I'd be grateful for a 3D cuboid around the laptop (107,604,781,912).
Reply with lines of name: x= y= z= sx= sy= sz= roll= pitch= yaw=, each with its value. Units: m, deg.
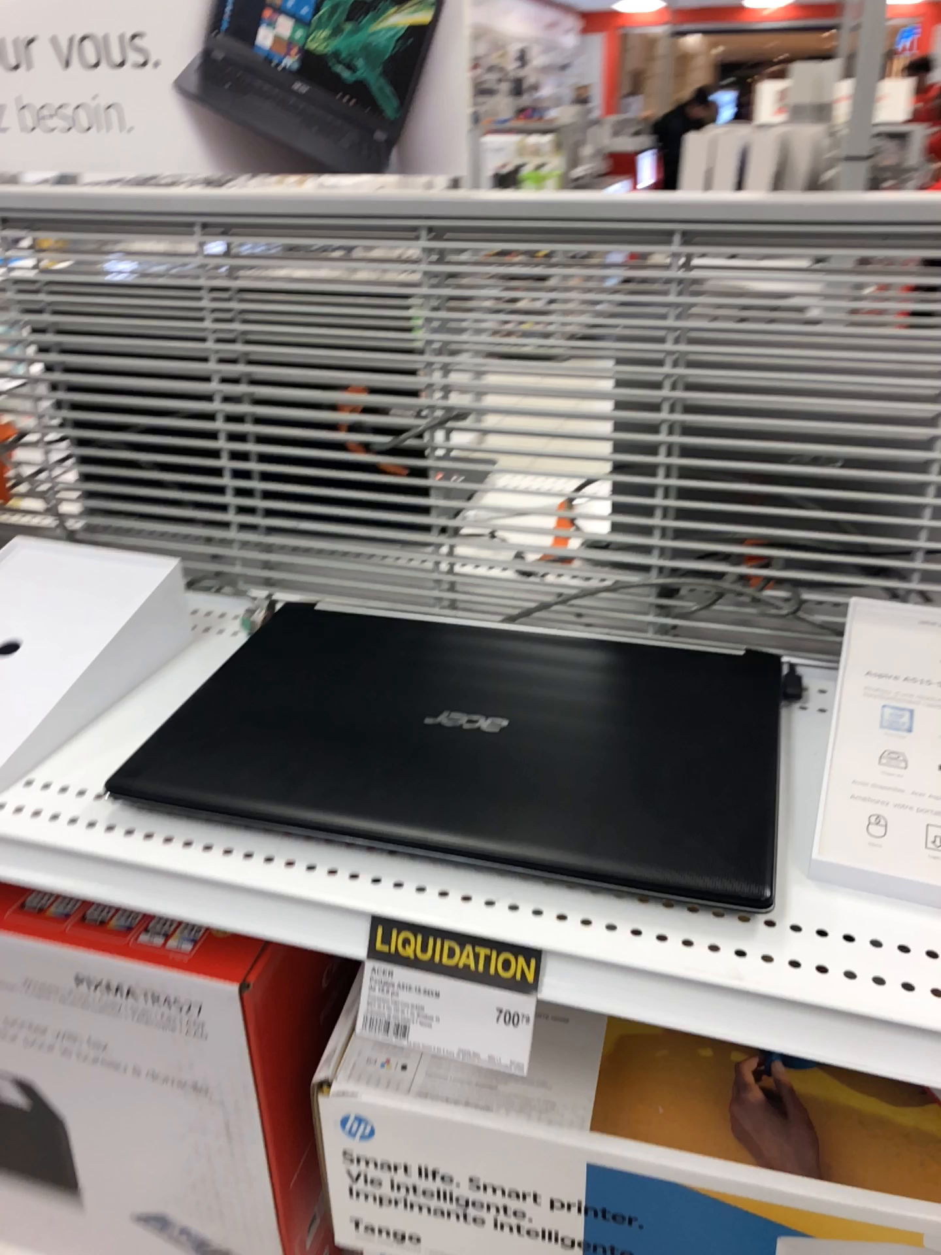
laptop: x=0.000 y=0.061 z=0.642 sx=0.361 sy=0.012 sz=0.228 roll=6 pitch=30 yaw=14
